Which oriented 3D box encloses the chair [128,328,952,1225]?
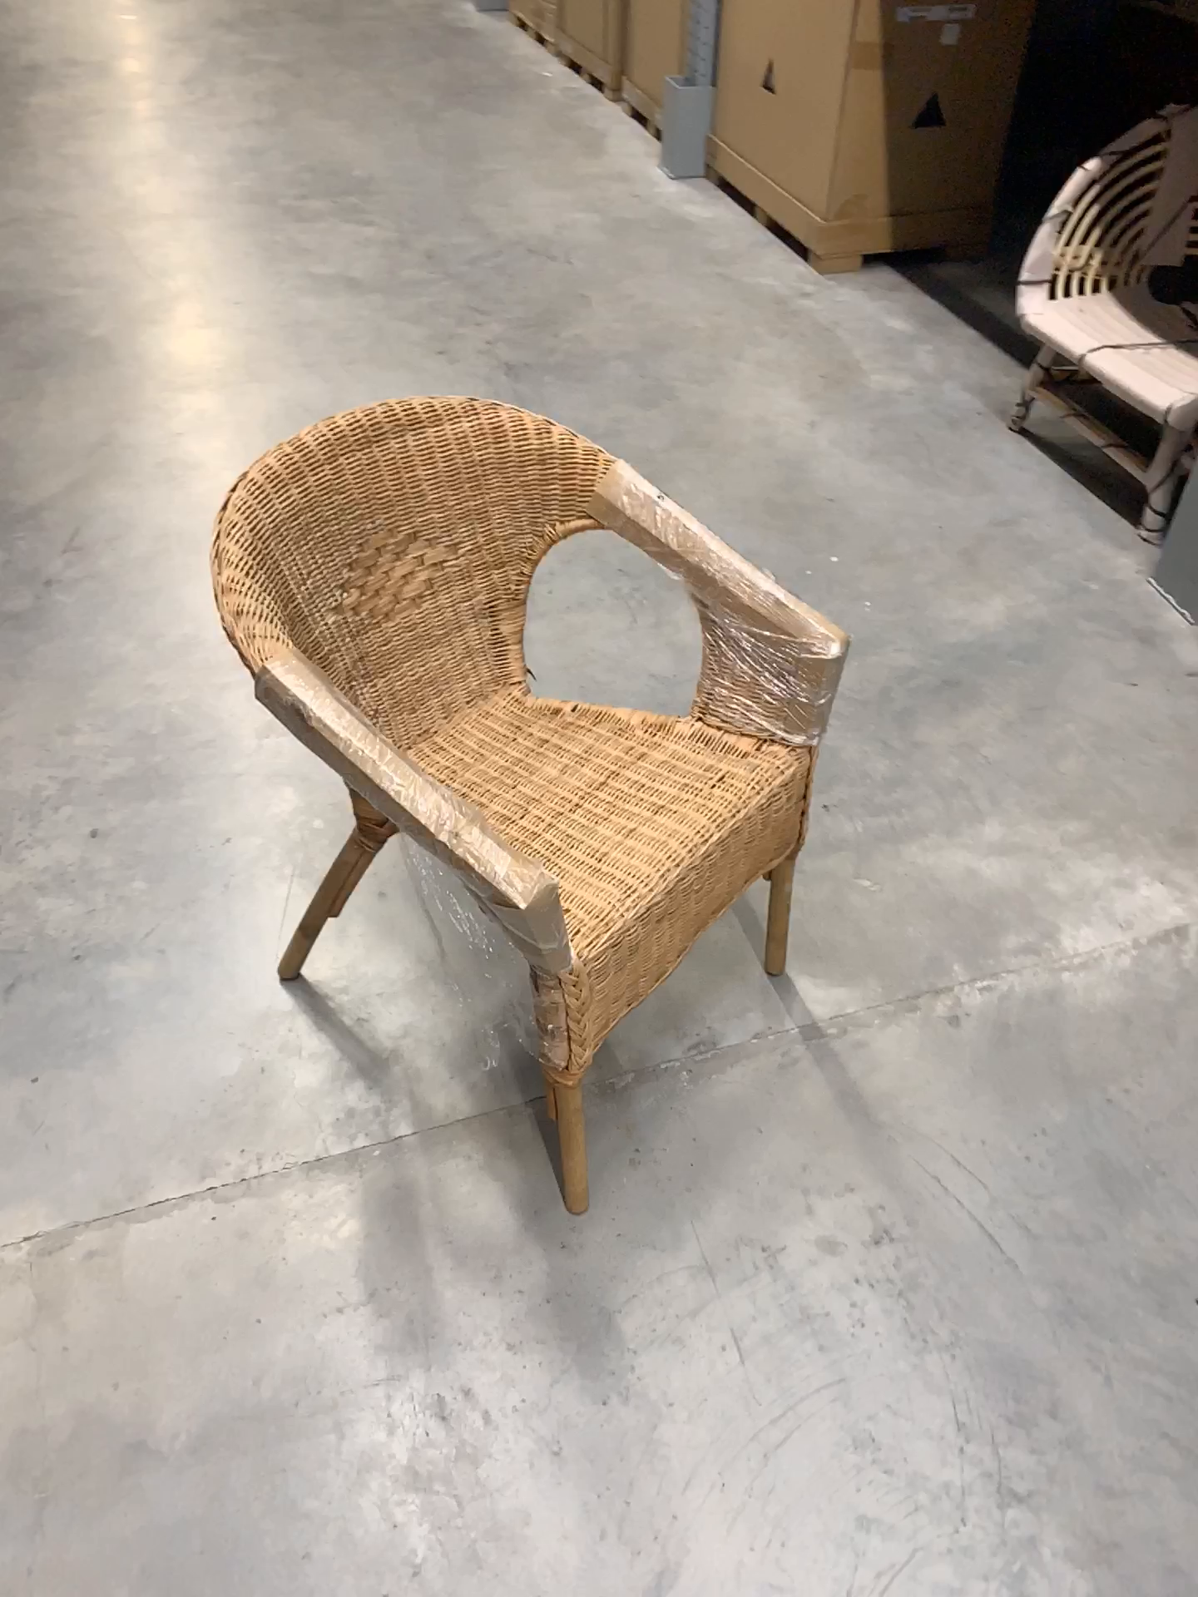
[{"bbox_3d":[-0.062,-0.053,1.567,0.651,0.757,0.601,30,50,27],"label":"chair"}]
